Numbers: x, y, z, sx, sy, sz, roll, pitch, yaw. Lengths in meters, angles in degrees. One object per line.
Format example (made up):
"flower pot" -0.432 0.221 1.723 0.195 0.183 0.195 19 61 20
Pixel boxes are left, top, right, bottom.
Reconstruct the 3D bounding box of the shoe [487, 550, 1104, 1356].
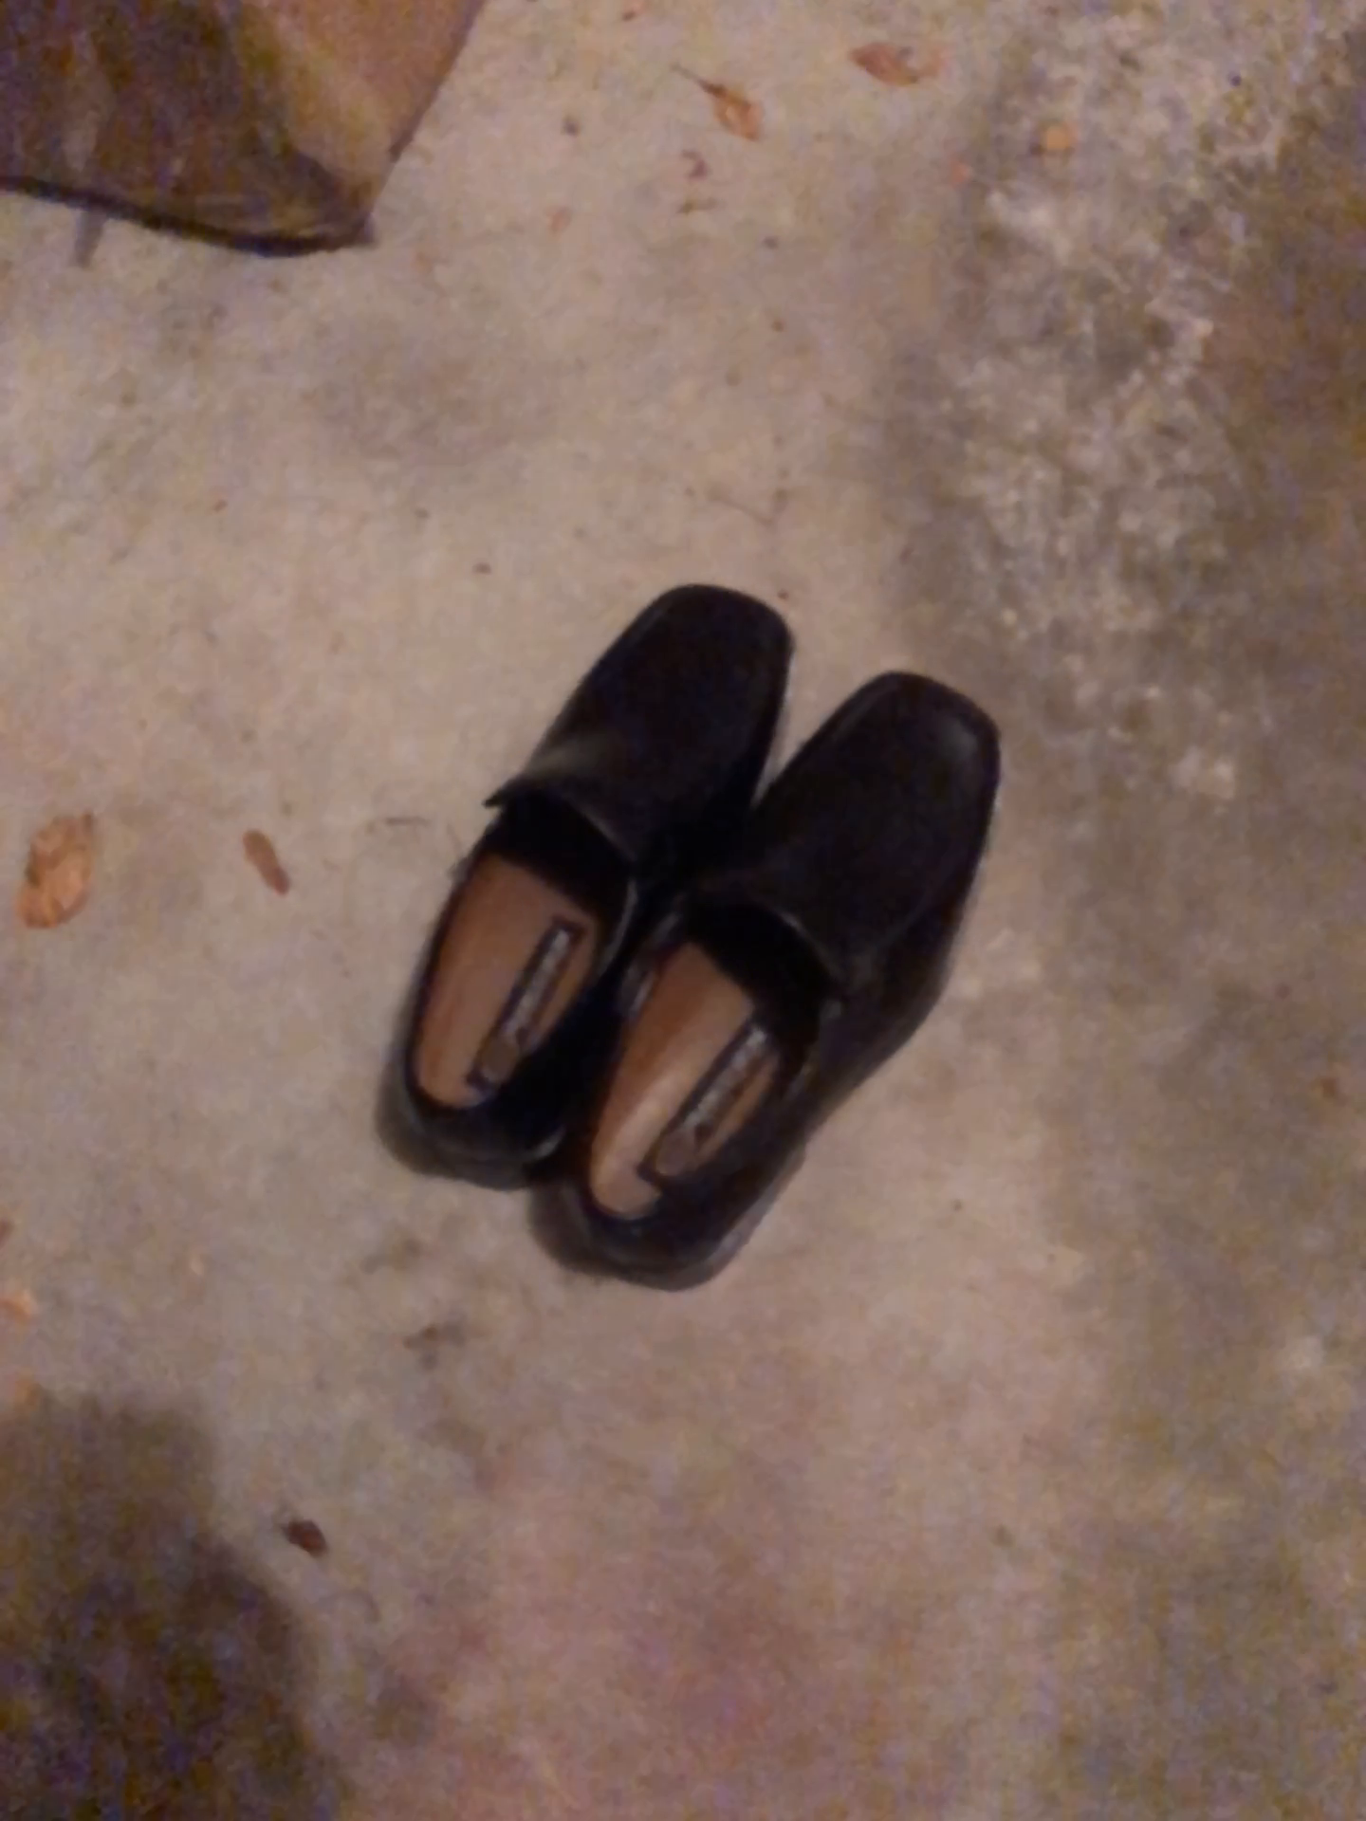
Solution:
"shoe" 0.050 0.019 0.594 0.101 0.113 0.279 26 76 15

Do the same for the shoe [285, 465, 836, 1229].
"shoe" -0.036 -0.024 0.618 0.104 0.113 0.269 20 75 13
